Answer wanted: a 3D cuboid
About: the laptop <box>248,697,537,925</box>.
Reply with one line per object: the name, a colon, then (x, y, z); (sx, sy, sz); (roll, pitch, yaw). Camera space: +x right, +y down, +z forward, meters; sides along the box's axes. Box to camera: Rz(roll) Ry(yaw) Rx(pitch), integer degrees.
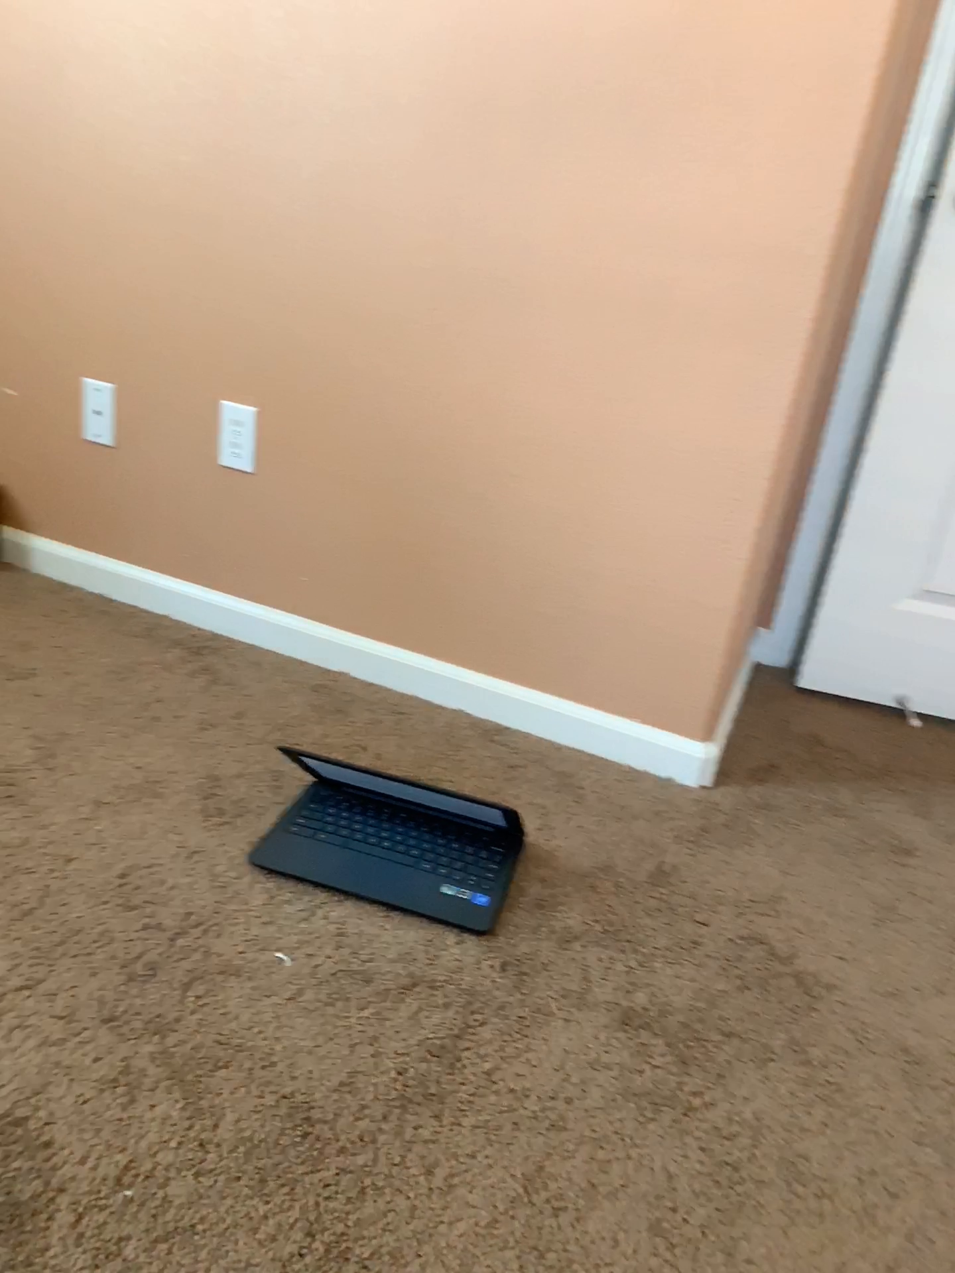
laptop: (-0.097, 0.200, 1.178); (0.289, 0.127, 0.195); (14, 20, 11)
